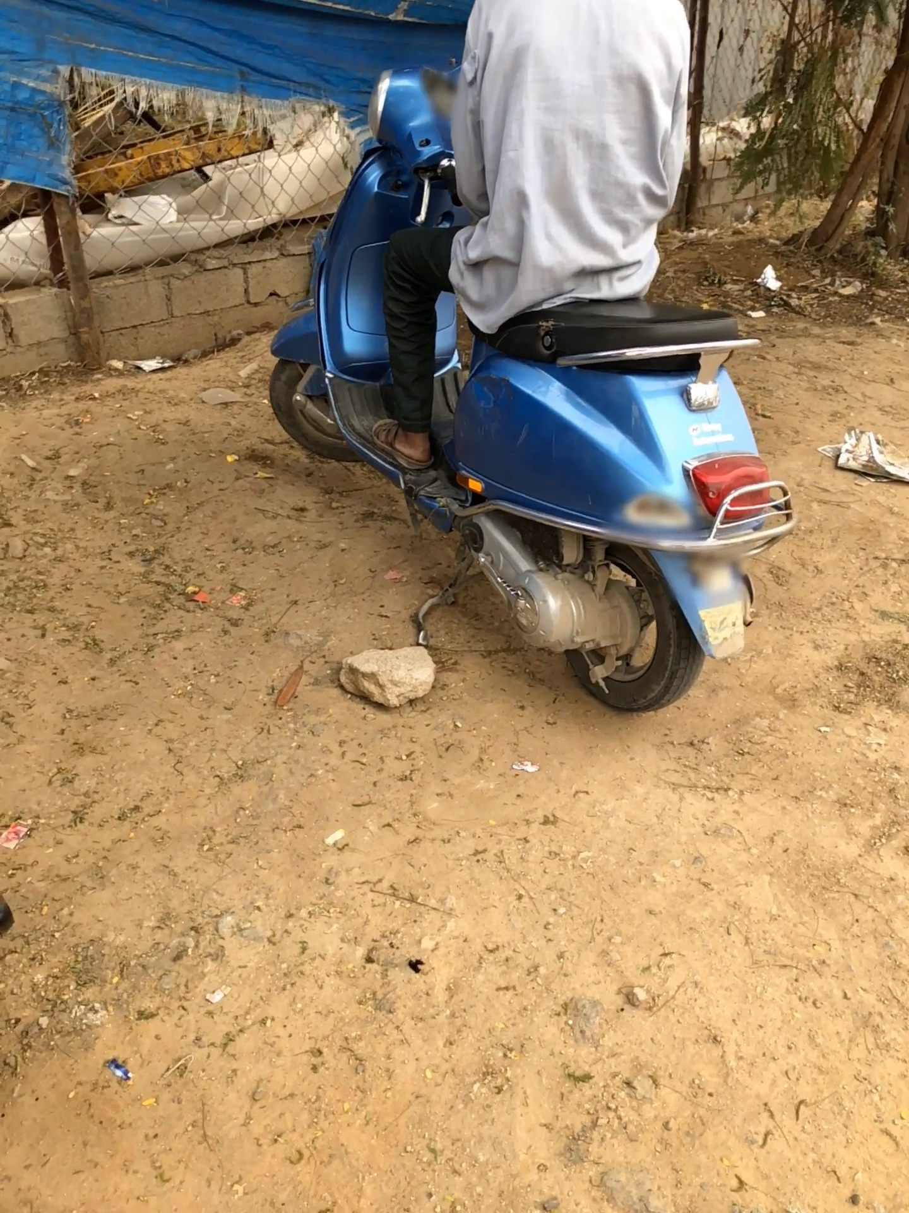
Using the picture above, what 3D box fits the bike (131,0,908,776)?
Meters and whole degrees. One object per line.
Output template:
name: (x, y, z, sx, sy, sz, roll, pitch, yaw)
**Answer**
bike: (0.014, -0.680, 2.326, 0.634, 1.253, 1.568, -21, 41, -34)
